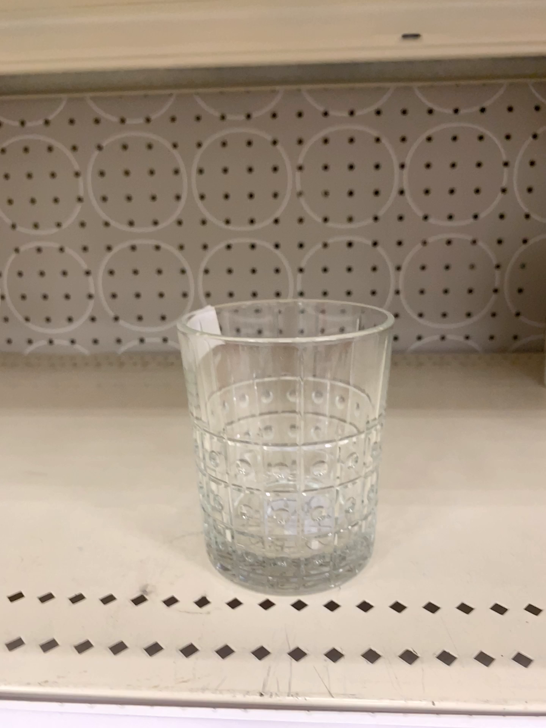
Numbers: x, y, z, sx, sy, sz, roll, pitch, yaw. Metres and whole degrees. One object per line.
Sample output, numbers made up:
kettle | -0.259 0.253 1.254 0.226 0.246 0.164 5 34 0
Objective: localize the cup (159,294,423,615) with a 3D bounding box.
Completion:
cup | 0.010 0.031 0.253 0.090 0.110 0.090 -1 16 0
